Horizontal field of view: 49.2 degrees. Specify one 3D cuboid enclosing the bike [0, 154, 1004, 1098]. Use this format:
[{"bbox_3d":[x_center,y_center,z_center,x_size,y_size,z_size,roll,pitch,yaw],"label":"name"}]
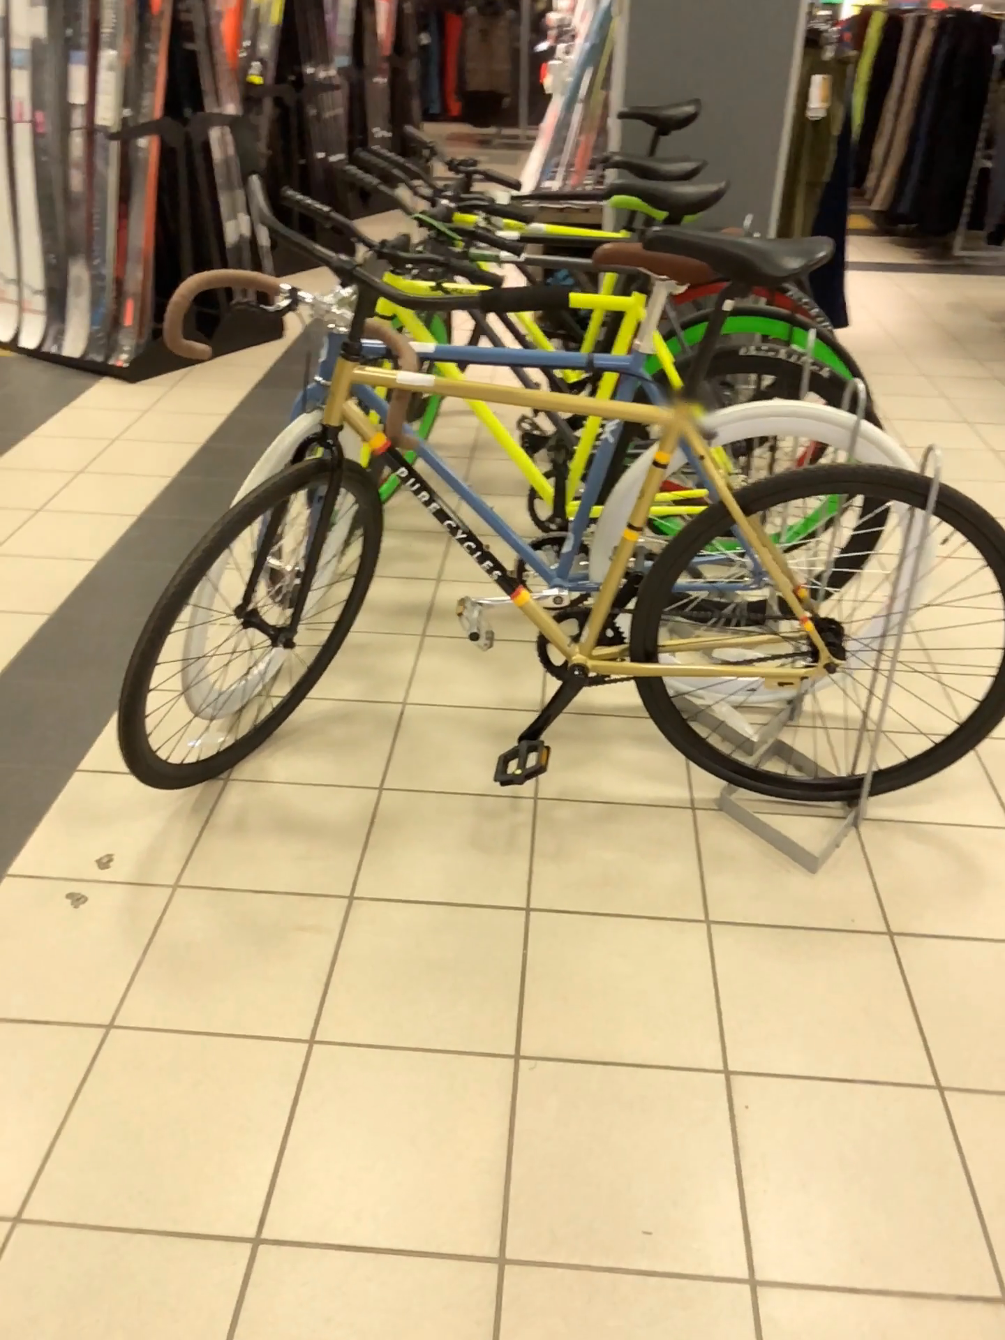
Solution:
[{"bbox_3d":[0.101,-0.093,1.762,1.462,1.092,0.676,-6,30,-2],"label":"bike"}]
